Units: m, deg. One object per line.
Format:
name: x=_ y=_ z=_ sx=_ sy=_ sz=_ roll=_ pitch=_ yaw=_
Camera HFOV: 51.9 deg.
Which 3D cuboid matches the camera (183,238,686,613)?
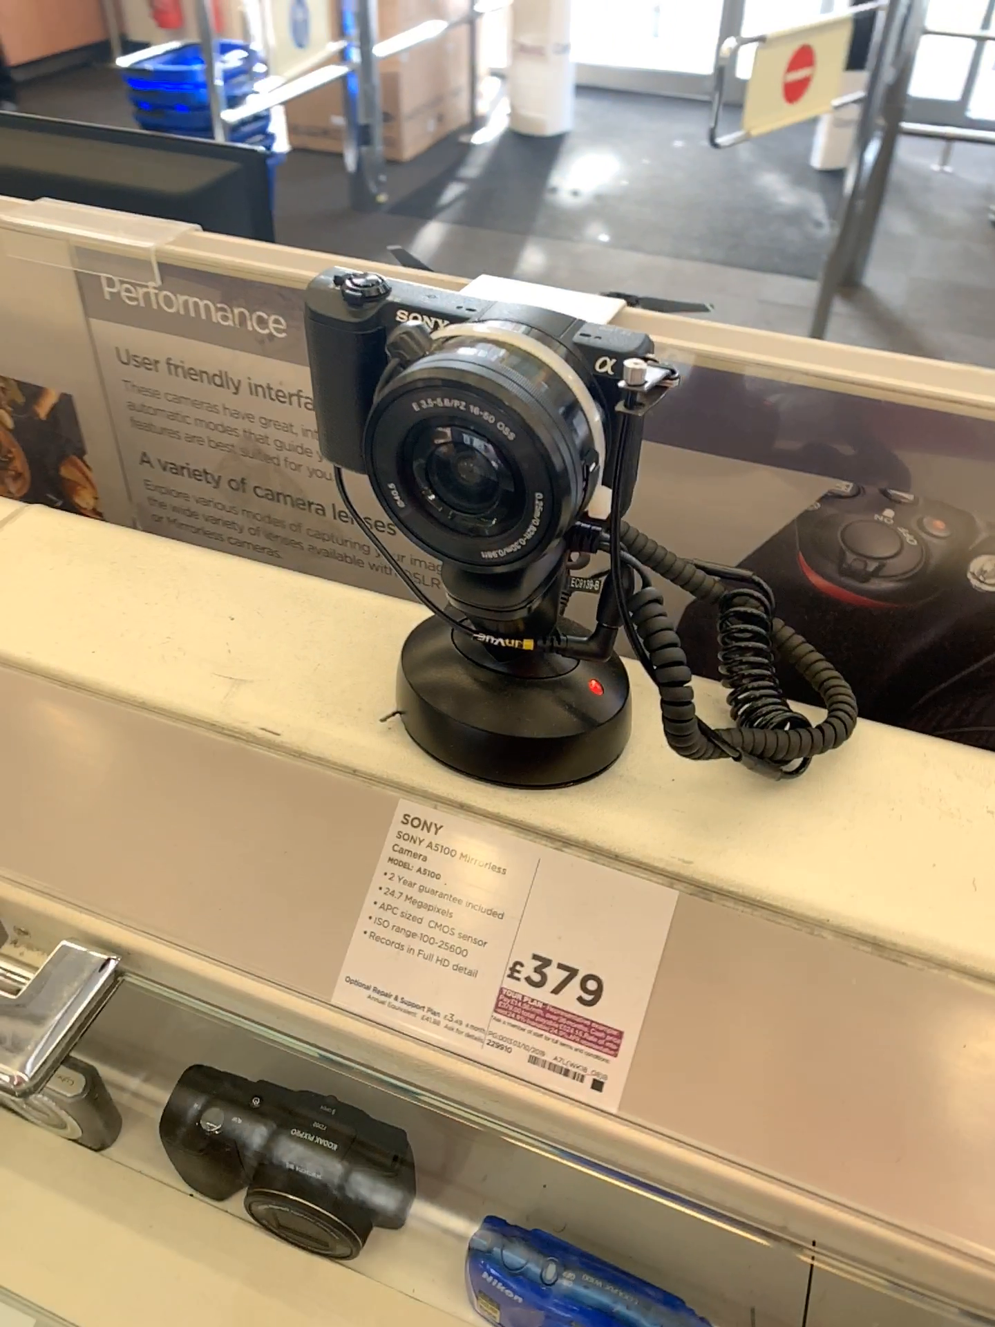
camera: x=-0.016 y=-0.077 z=0.311 sx=0.120 sy=0.059 sz=0.081 roll=17 pitch=43 yaw=17
